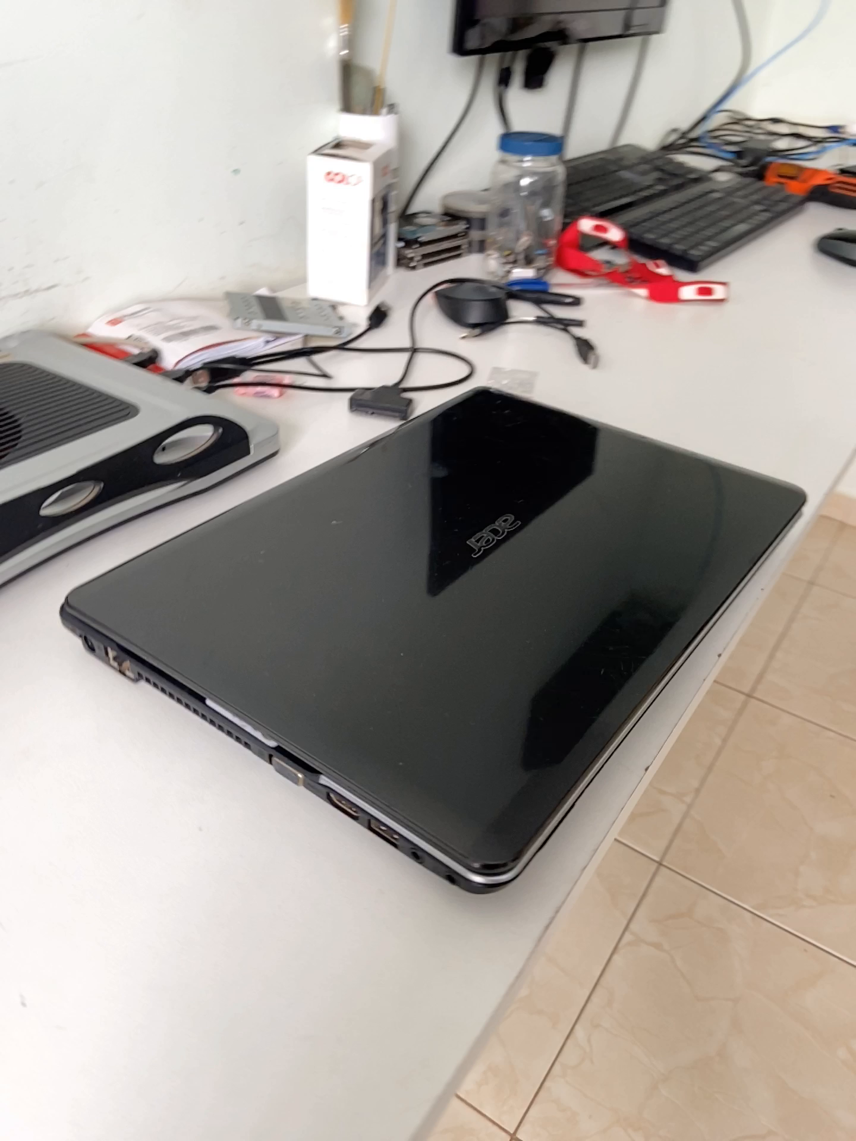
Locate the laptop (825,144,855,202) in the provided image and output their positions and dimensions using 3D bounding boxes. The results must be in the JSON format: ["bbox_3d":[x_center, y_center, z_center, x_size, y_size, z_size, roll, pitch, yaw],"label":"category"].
[{"bbox_3d":[0.749,-0.556,1.214,0.436,0.001,0.239,-21,40,-32],"label":"laptop"}]

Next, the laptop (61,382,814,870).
[{"bbox_3d":[0.031,-0.019,0.448,0.230,0.005,0.336,24,39,29],"label":"laptop"}]
